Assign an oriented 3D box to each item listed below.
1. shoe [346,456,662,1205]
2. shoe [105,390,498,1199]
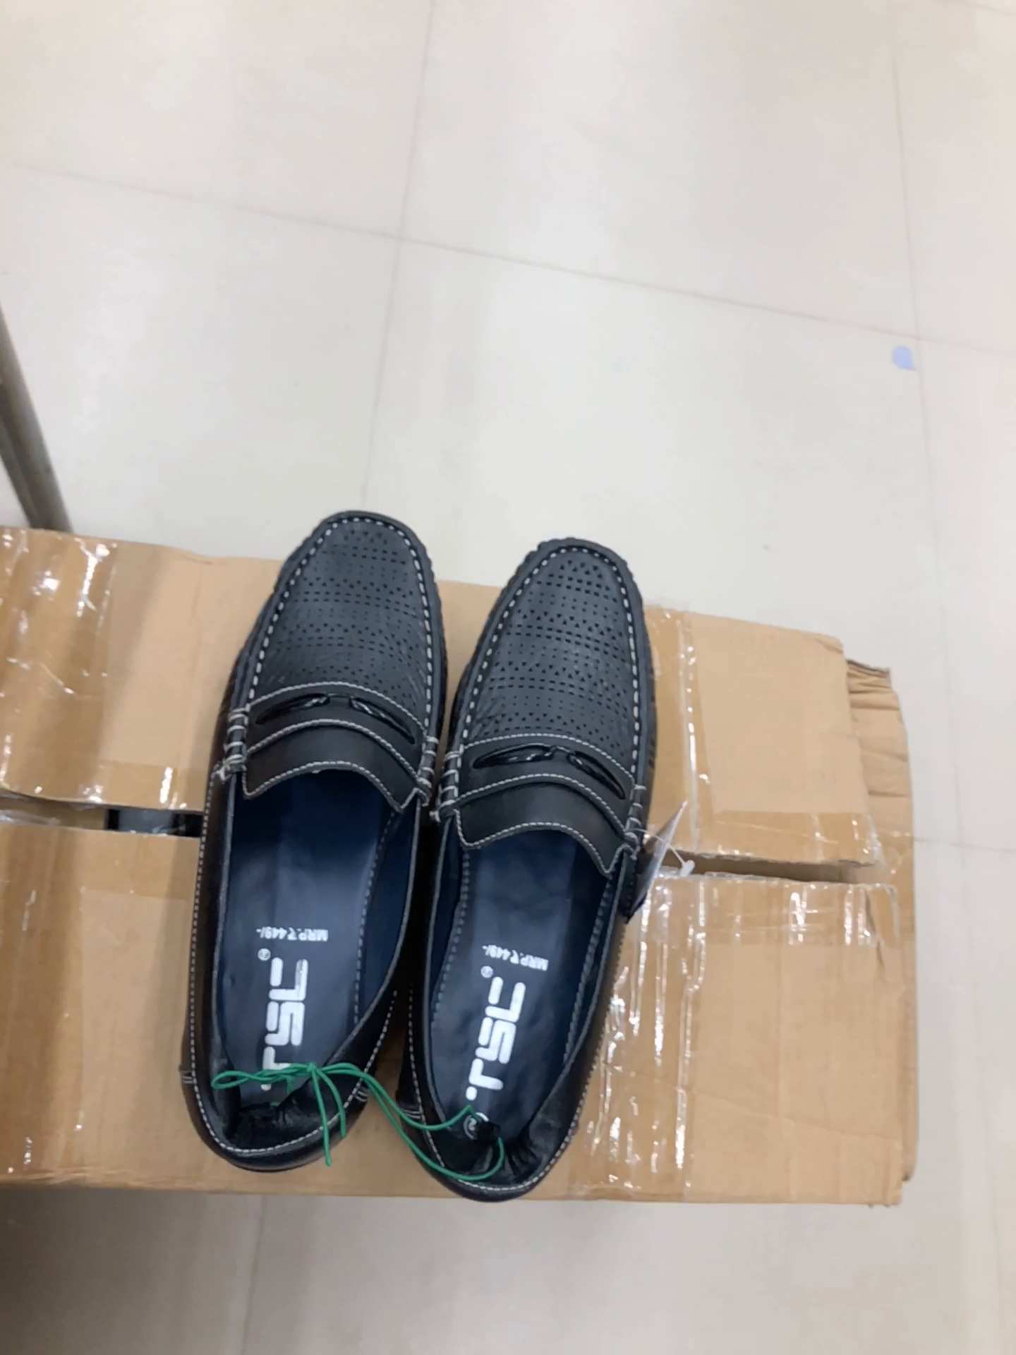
[{"bbox_3d":[0.002,0.063,0.516,0.100,0.090,0.311,9,67,-8],"label":"shoe"},{"bbox_3d":[-0.076,0.042,0.476,0.100,0.090,0.311,9,67,-8],"label":"shoe"}]
